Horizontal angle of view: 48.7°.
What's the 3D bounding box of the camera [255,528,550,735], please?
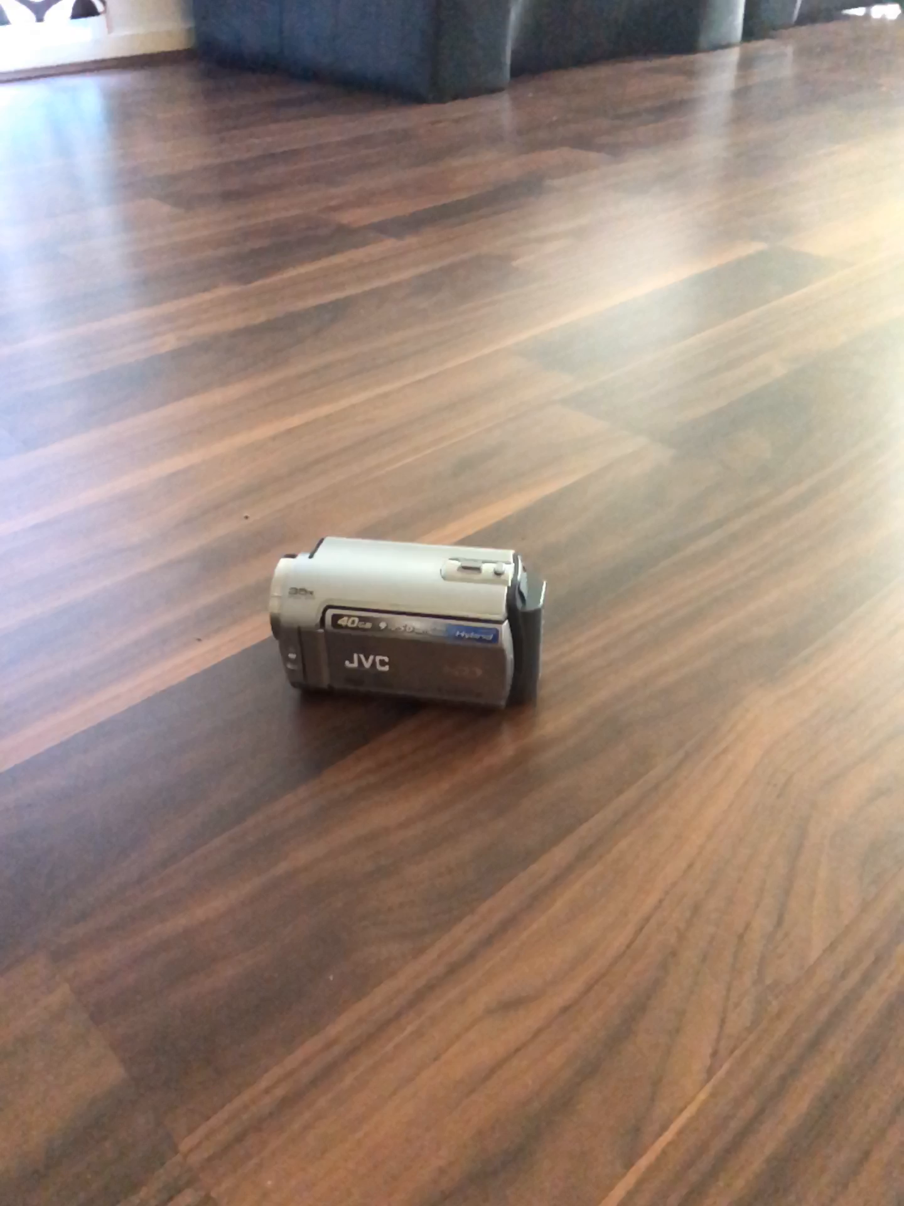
[{"bbox_3d":[-0.019,0.011,0.460,0.120,0.060,0.060,5,35,11],"label":"camera"}]
